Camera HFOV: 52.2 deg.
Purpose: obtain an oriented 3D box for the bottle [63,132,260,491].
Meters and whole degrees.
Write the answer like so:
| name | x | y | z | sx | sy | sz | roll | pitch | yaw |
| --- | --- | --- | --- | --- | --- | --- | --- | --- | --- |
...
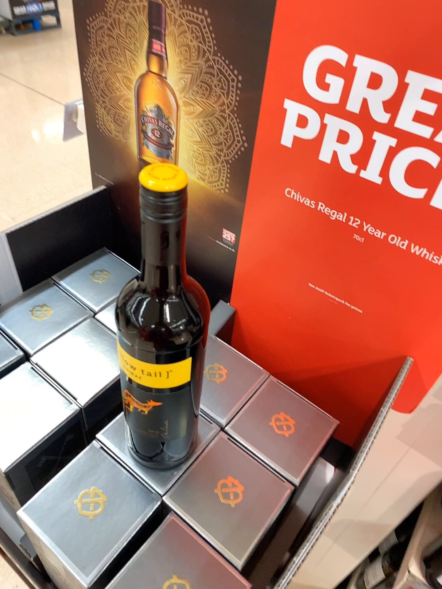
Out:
| name | x | y | z | sx | sy | sz | roll | pitch | yaw |
| --- | --- | --- | --- | --- | --- | --- | --- | --- | --- |
| bottle | -0.046 | 0.040 | 0.364 | 0.077 | 0.304 | 0.081 | 4 | 44 | -4 |
